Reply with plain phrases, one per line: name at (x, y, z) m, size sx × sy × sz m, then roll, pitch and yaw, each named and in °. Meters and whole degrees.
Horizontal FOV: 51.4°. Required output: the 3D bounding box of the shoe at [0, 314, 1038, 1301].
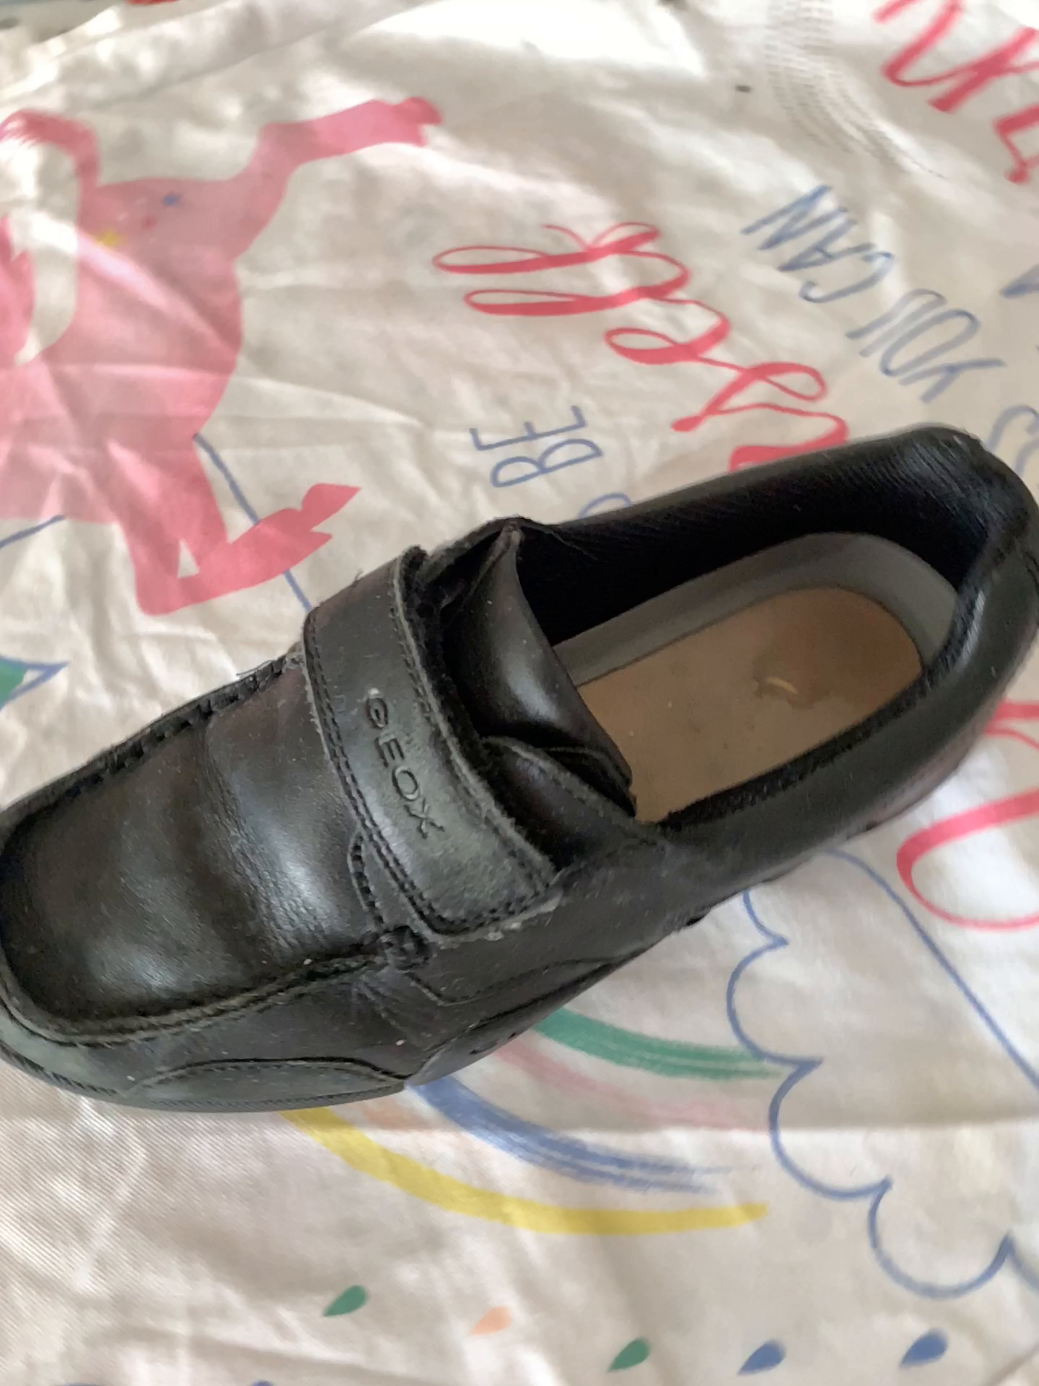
shoe at (-0.004, 0.030, 0.230) m, size 0.220 × 0.139 × 0.080 m, roll -20°, pitch 70°, yaw -7°
